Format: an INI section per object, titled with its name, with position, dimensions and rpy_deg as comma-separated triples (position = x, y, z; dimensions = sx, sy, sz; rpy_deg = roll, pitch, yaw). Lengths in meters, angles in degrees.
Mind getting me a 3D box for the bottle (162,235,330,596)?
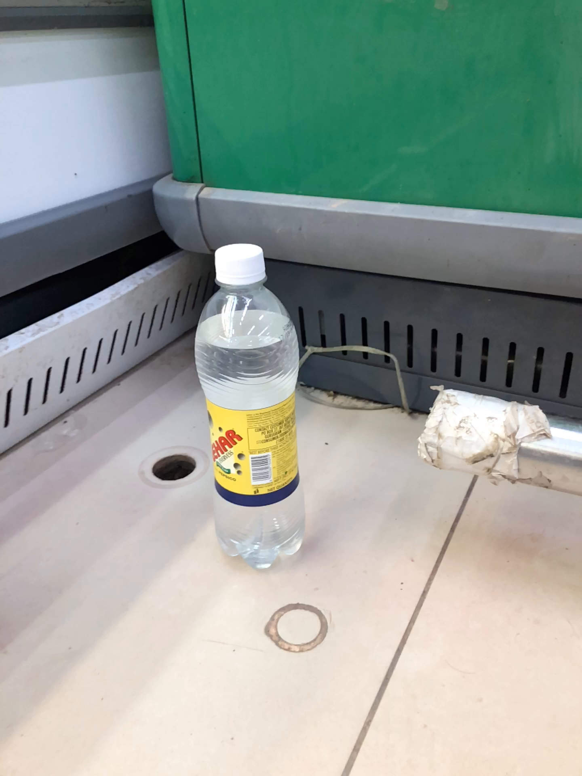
[bottle]
position = -0.024, 0.021, 0.441
dimensions = 0.070, 0.229, 0.070
rpy_deg = -2, 28, 1
